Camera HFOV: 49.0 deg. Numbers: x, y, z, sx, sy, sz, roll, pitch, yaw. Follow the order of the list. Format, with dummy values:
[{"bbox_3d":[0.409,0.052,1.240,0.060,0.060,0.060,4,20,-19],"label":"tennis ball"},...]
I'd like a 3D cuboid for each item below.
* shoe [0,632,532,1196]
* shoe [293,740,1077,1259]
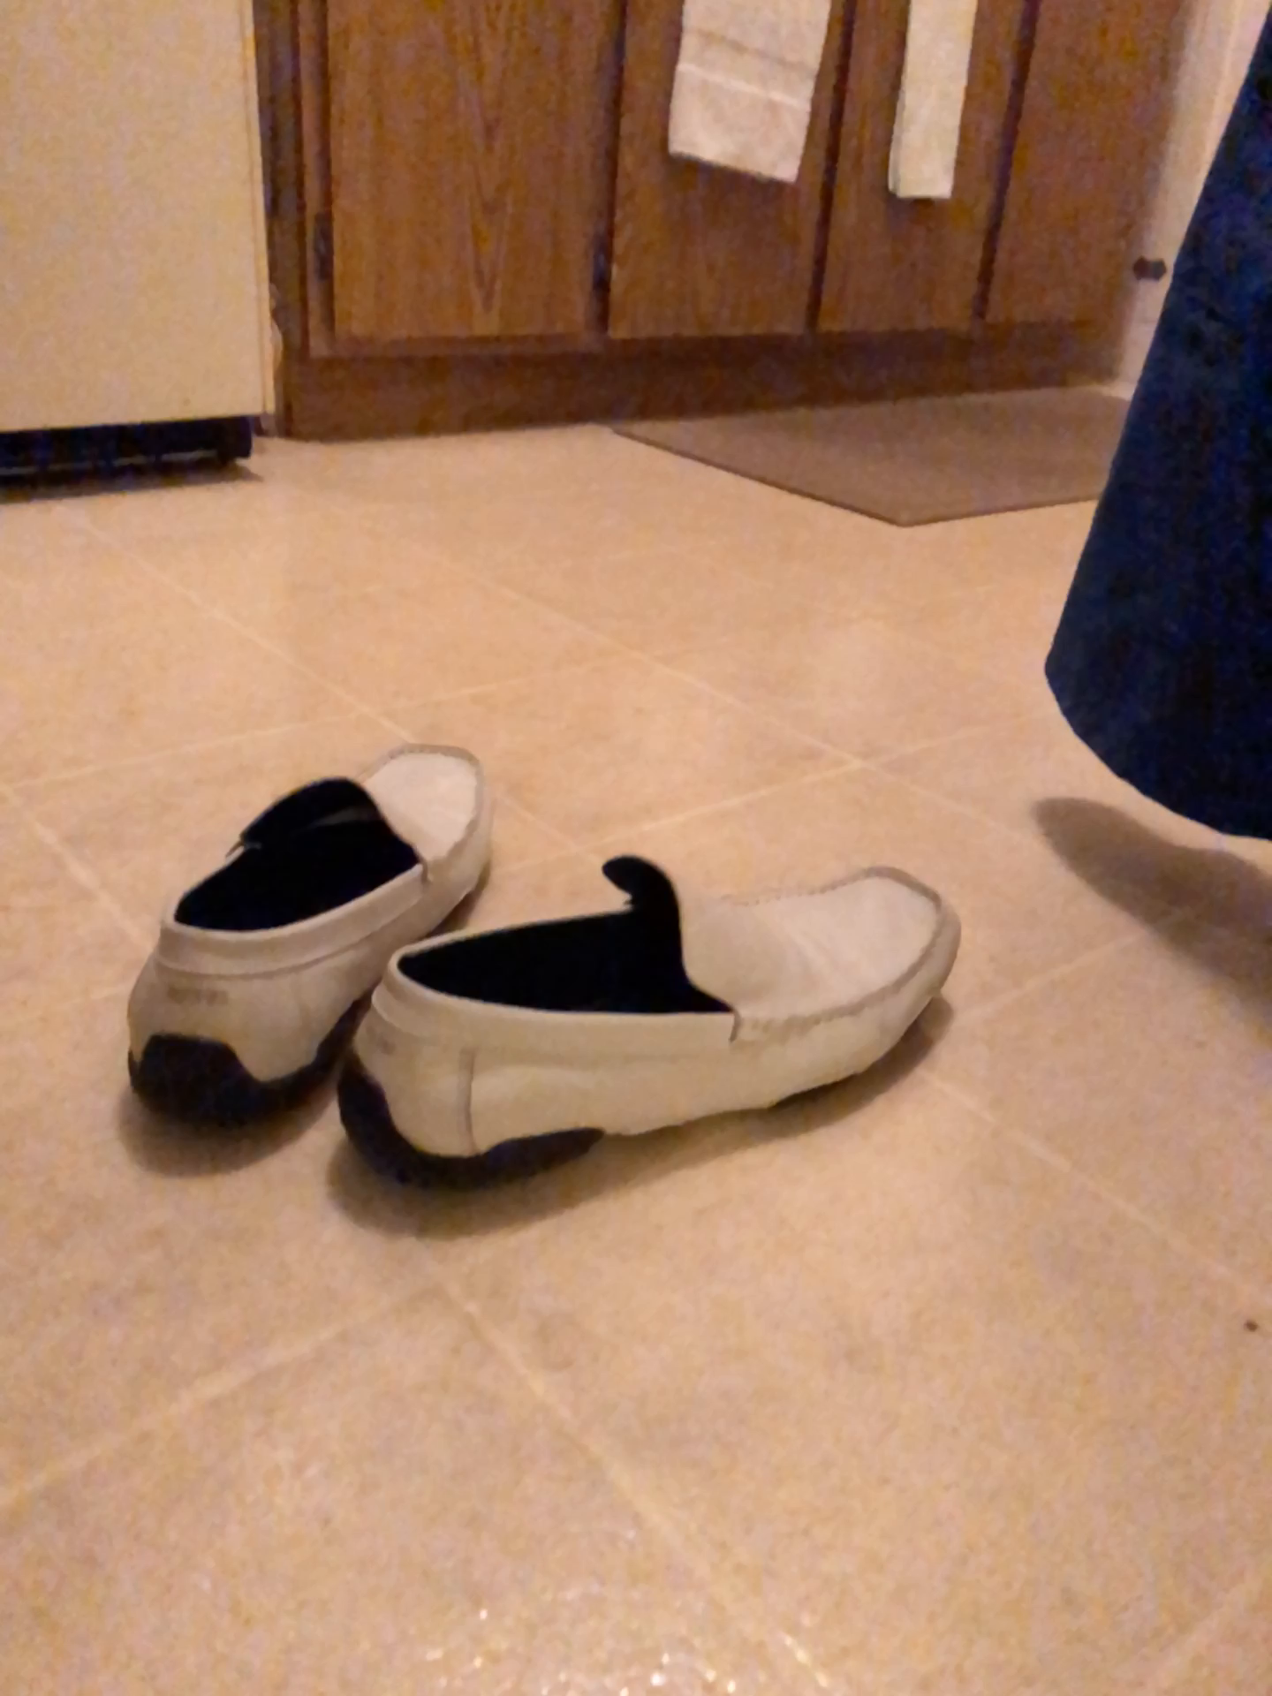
[{"bbox_3d":[-0.136,0.005,0.614,0.110,0.097,0.308,7,27,7],"label":"shoe"},{"bbox_3d":[0.024,0.044,0.559,0.290,0.097,0.111,-13,31,-29],"label":"shoe"}]
